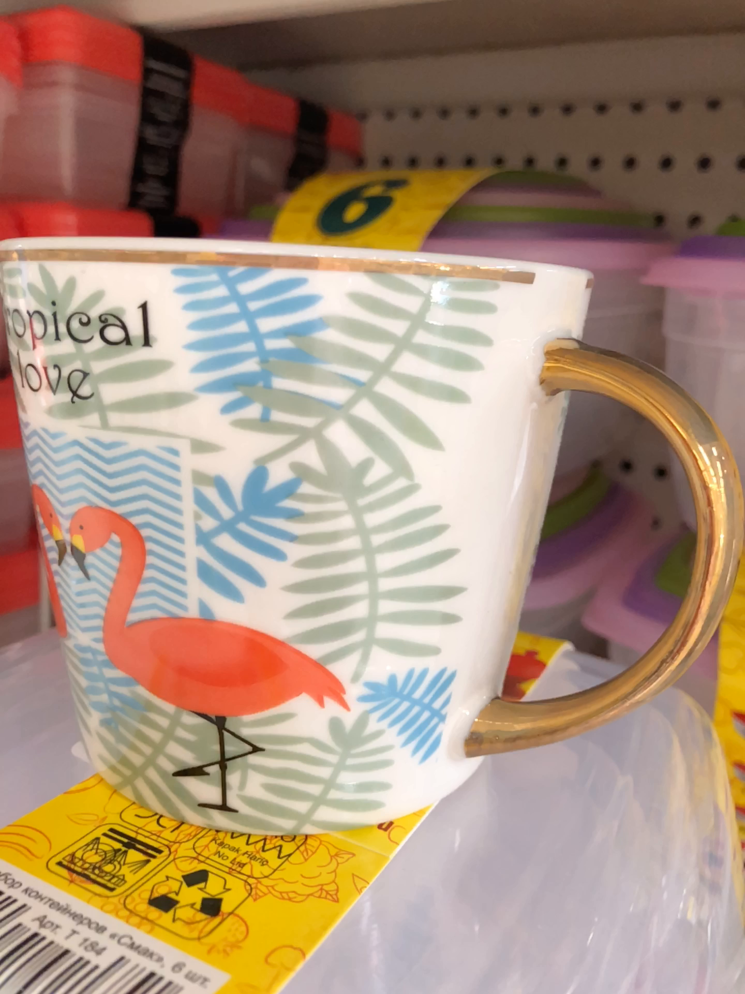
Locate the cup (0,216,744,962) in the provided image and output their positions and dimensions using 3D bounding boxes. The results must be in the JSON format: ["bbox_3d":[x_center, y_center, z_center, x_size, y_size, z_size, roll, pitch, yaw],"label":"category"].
[{"bbox_3d":[-0.007,-0.003,0.158,0.128,0.085,0.102,6,14,17],"label":"cup"}]
